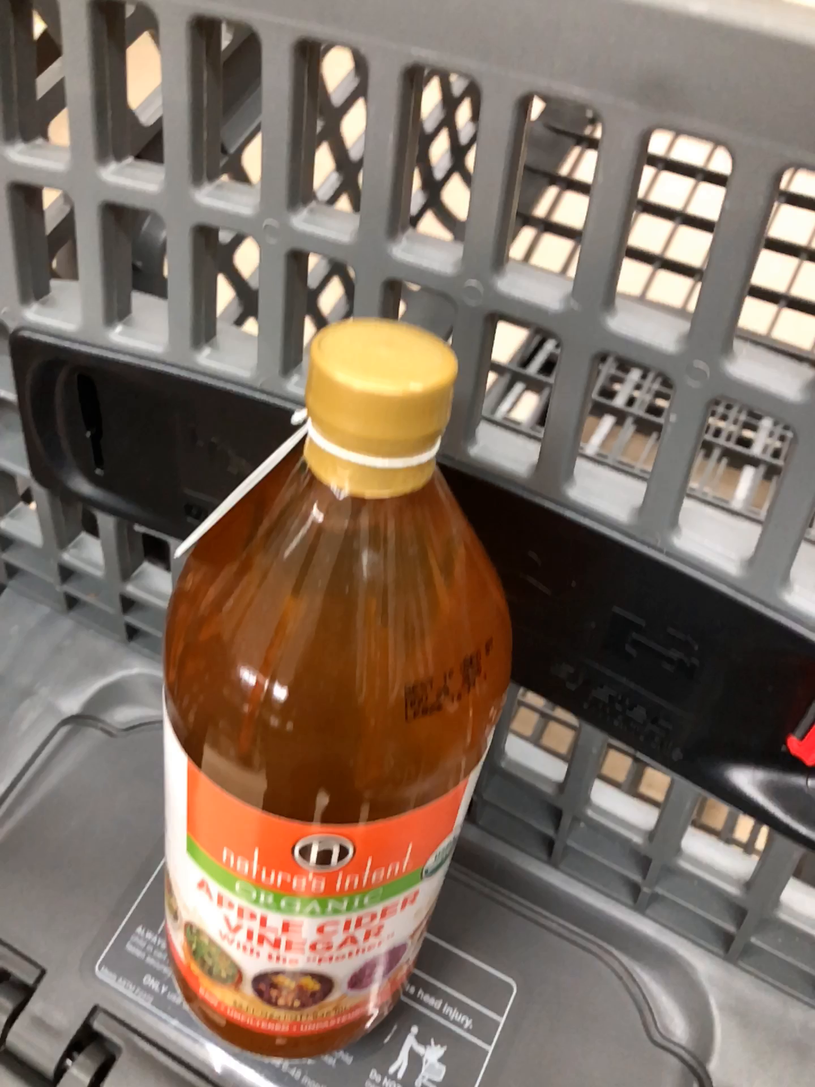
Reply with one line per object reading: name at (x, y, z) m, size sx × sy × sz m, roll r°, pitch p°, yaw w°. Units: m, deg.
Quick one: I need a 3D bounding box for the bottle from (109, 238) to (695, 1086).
bottle at (-0.022, 0.054, 0.259) m, size 0.100 × 0.240 × 0.090 m, roll 6°, pitch 36°, yaw -8°
